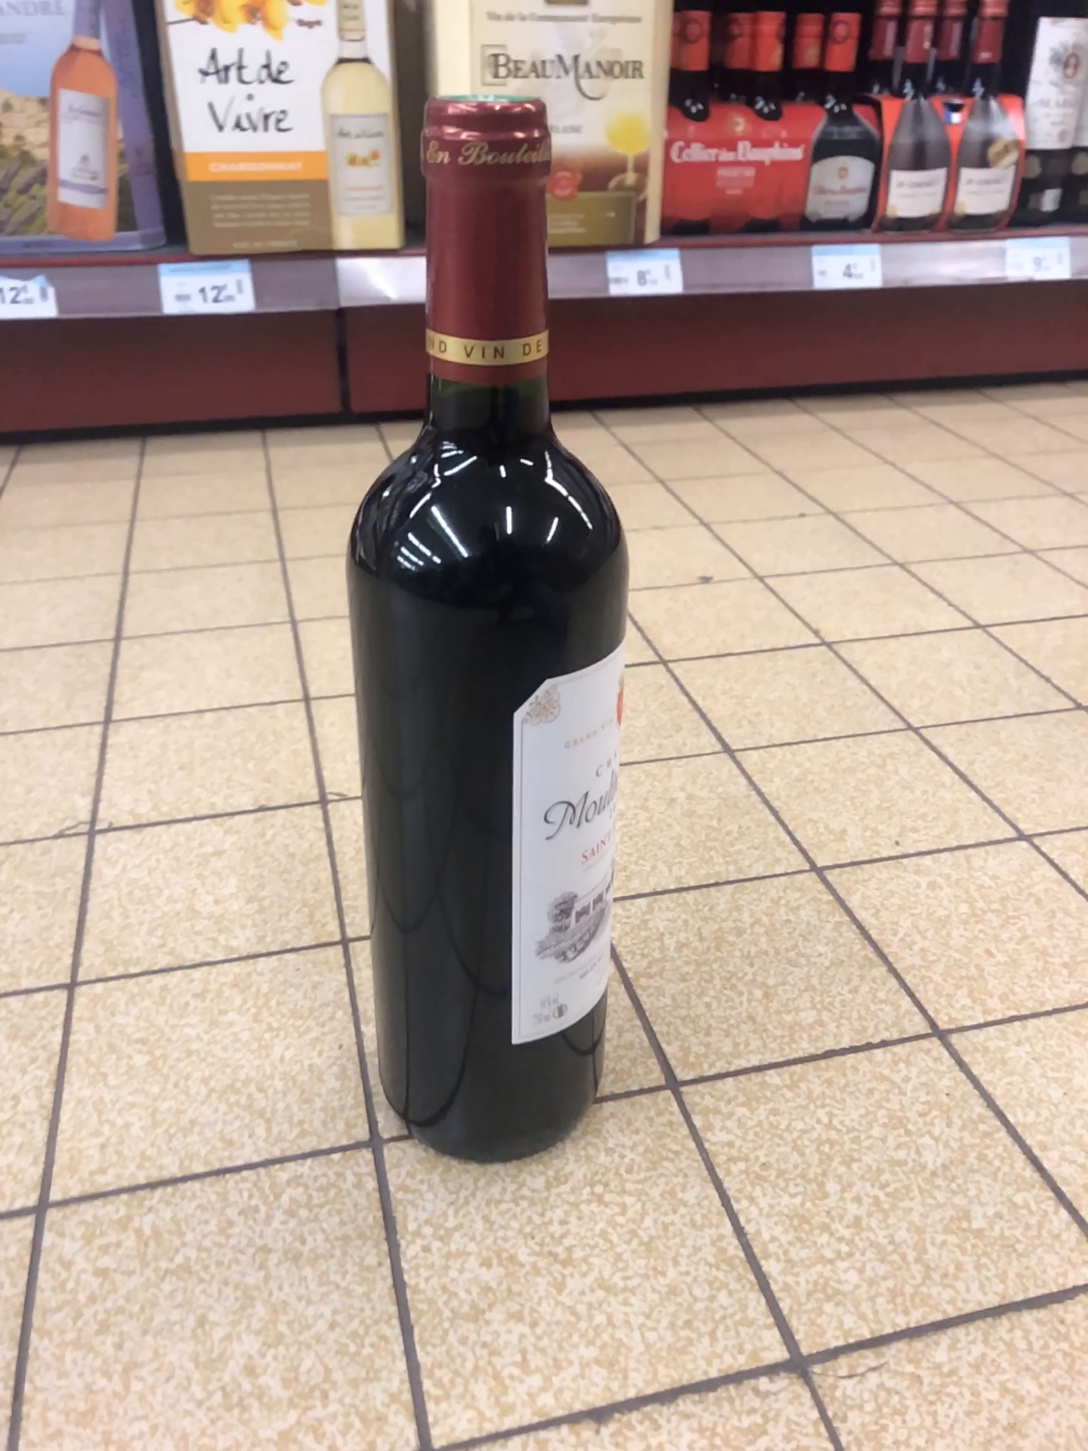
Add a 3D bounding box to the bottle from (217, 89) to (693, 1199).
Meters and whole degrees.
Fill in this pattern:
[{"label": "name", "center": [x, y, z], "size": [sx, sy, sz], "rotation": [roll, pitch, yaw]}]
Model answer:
[{"label": "bottle", "center": [-0.015, -0.010, 0.322], "size": [0.080, 0.281, 0.081], "rotation": [1, 29, 0]}]
